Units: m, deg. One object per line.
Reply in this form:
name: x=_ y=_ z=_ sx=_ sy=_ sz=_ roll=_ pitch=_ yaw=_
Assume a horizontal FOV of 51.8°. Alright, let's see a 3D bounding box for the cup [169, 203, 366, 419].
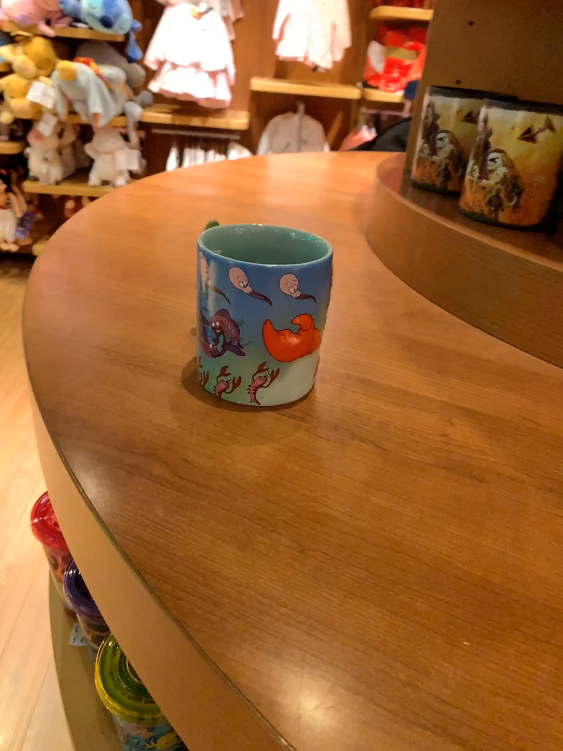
cup: x=-0.019 y=-0.055 z=0.419 sx=0.090 sy=0.101 sz=0.135 roll=-8 pitch=32 yaw=-22
